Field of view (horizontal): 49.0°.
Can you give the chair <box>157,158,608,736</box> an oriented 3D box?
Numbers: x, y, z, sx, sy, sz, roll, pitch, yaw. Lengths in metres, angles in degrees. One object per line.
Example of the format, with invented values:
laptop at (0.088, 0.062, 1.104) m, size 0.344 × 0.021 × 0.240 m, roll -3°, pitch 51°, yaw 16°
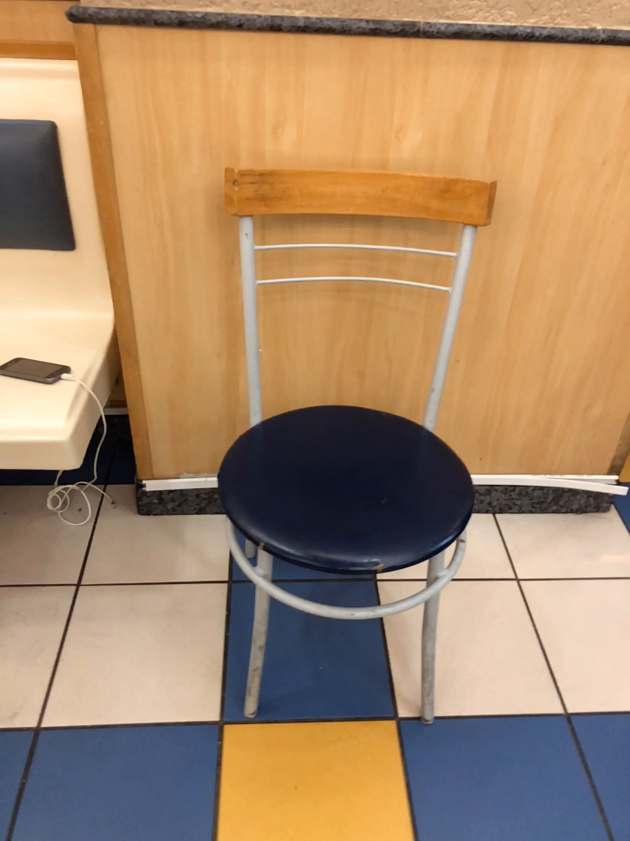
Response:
chair at (0.048, 0.048, 1.101) m, size 0.440 × 0.744 × 0.524 m, roll 1°, pitch 36°, yaw -2°
